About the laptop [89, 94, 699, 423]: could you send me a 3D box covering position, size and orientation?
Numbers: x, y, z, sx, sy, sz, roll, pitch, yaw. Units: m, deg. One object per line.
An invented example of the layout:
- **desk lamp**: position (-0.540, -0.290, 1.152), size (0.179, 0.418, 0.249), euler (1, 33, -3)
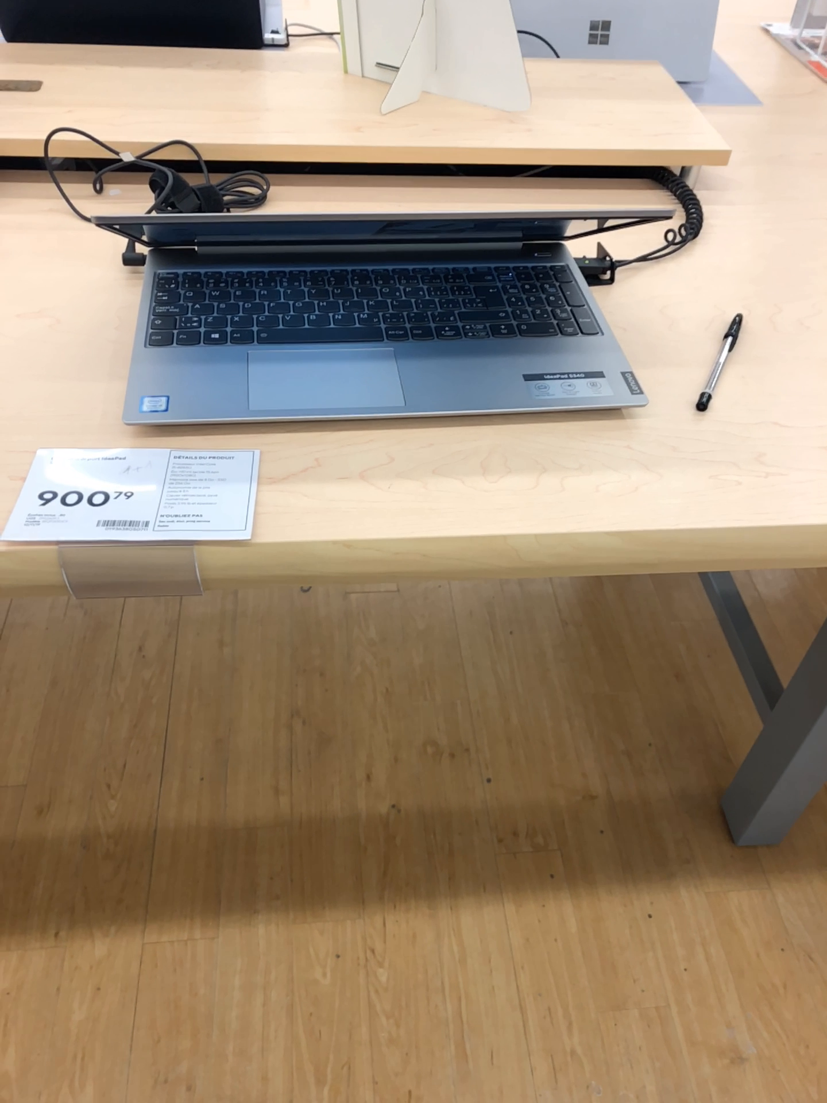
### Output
- **laptop**: position (-0.024, -0.217, 0.641), size (0.351, 0.122, 0.235), euler (-3, 45, -8)
